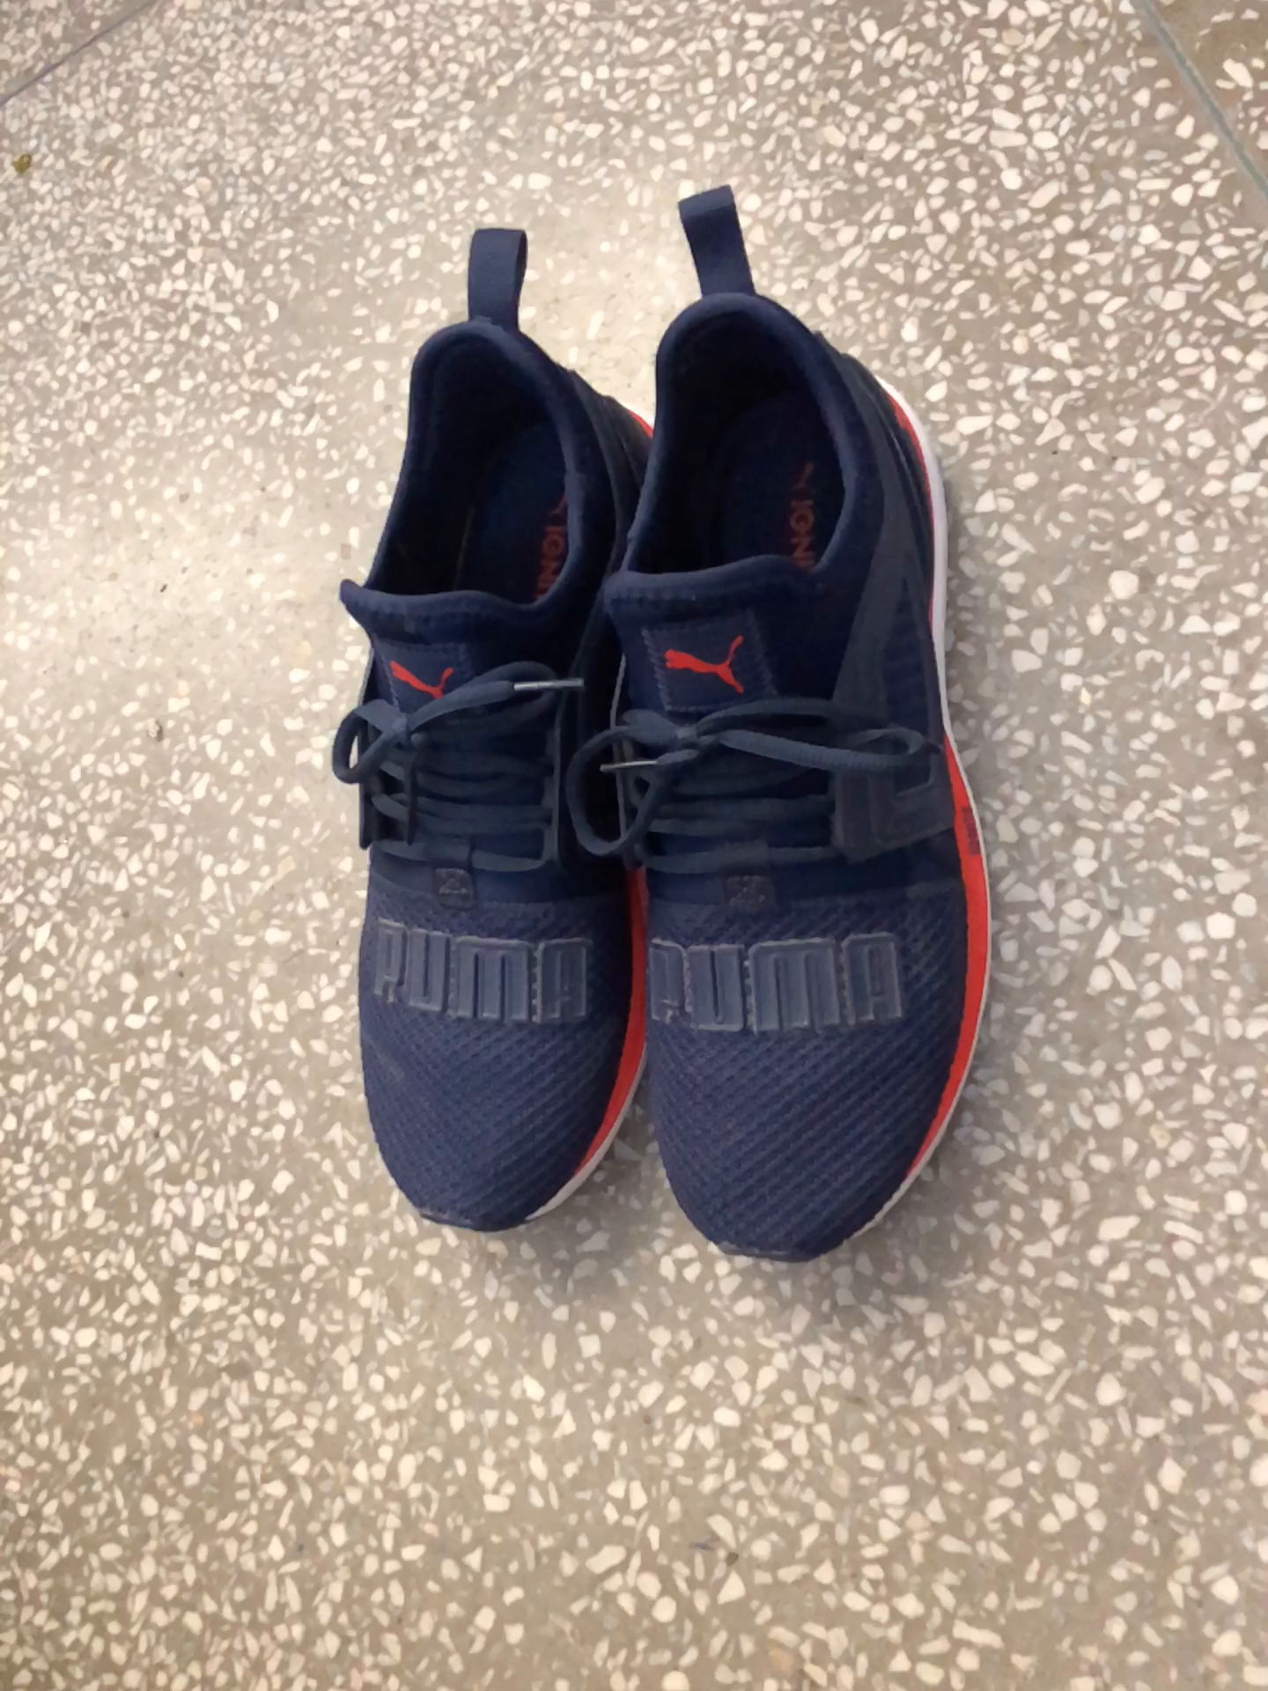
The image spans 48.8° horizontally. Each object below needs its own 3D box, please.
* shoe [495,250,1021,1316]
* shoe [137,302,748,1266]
[{"bbox_3d":[0.046,-0.013,0.397,0.107,0.113,0.257,1,78,20],"label":"shoe"},{"bbox_3d":[-0.047,-0.016,0.432,0.107,0.113,0.257,5,80,20],"label":"shoe"}]
